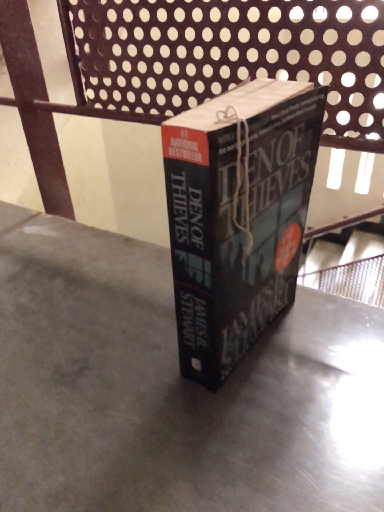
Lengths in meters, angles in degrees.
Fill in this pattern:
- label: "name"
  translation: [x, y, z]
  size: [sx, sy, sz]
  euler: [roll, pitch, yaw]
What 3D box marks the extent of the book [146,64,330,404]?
- label: "book"
  translation: [0.046, -0.023, 0.350]
  size: [0.050, 0.219, 0.171]
  euler: [18, 38, 29]
